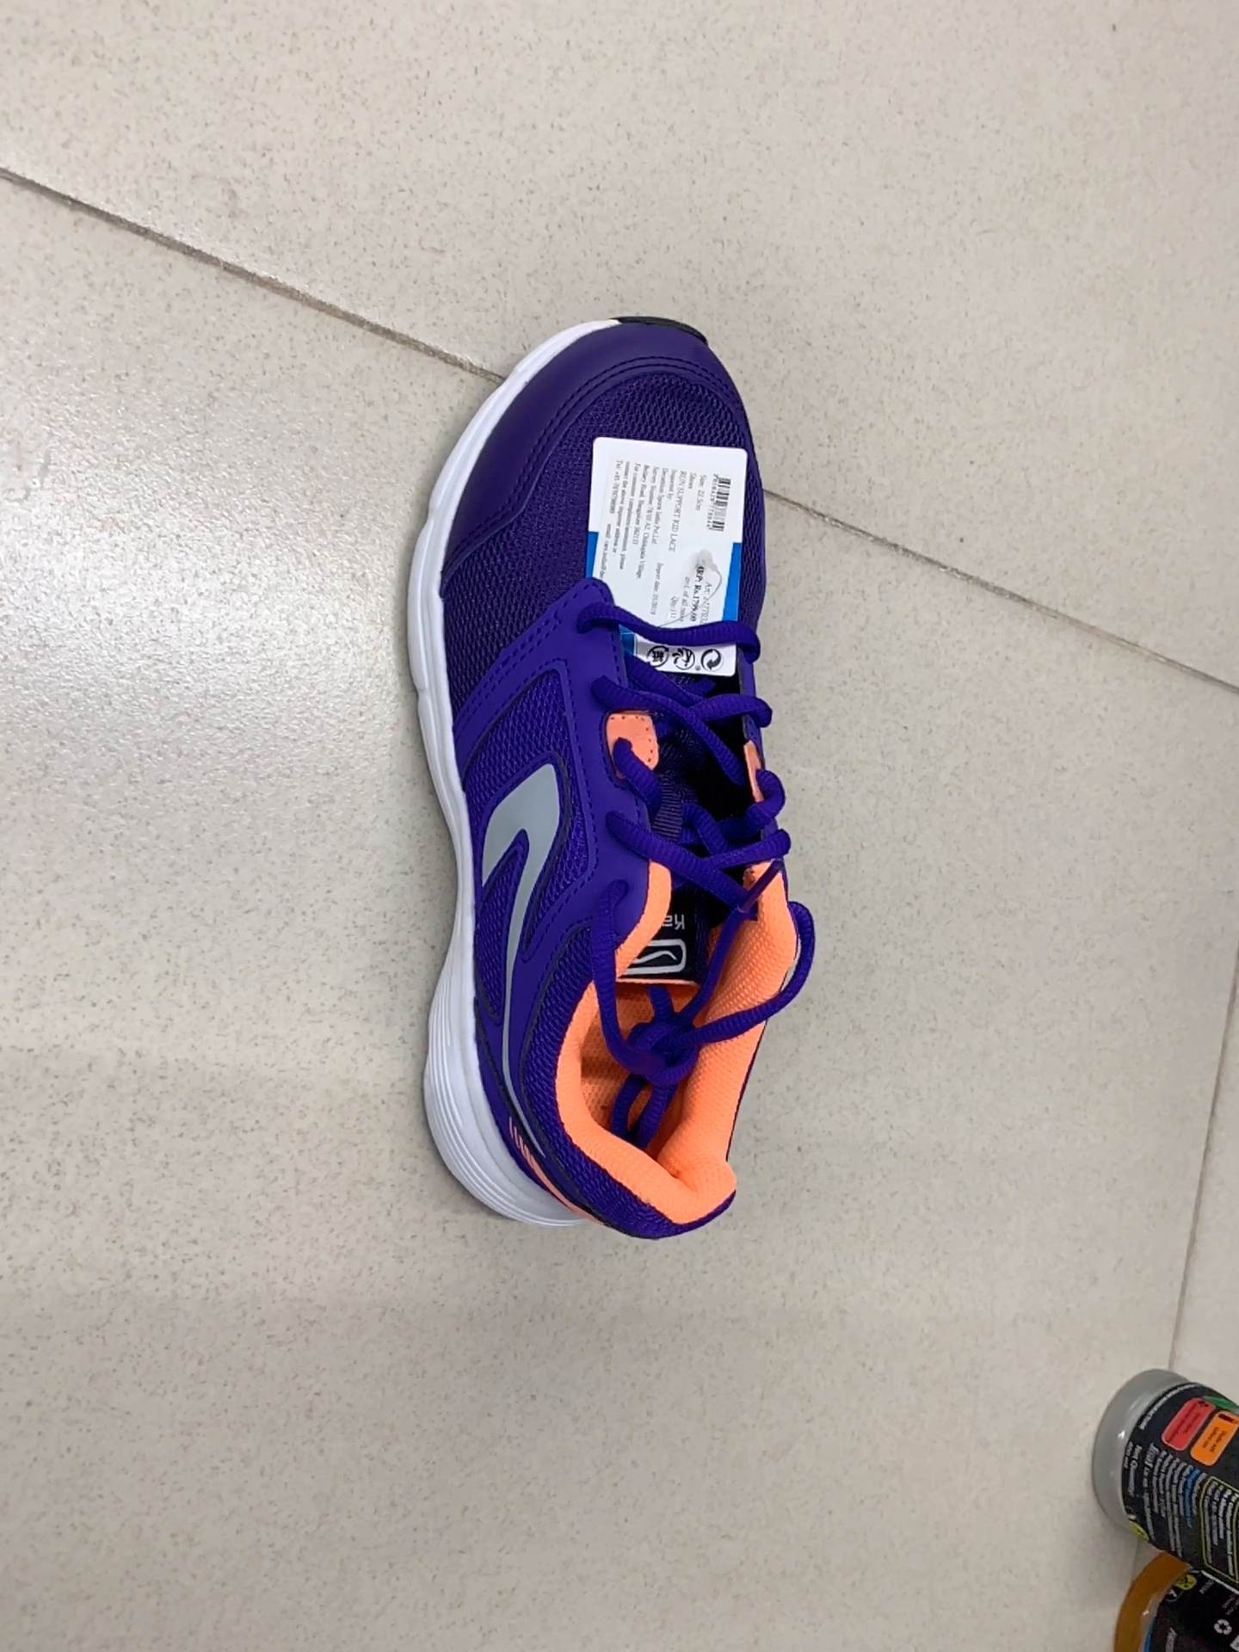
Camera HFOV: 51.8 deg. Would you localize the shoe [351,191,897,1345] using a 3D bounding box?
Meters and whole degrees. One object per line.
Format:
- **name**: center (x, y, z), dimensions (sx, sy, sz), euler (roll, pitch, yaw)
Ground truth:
- **shoe**: center (-0.004, -0.012, 0.345), dimensions (0.100, 0.100, 0.250), euler (2, 92, -29)
